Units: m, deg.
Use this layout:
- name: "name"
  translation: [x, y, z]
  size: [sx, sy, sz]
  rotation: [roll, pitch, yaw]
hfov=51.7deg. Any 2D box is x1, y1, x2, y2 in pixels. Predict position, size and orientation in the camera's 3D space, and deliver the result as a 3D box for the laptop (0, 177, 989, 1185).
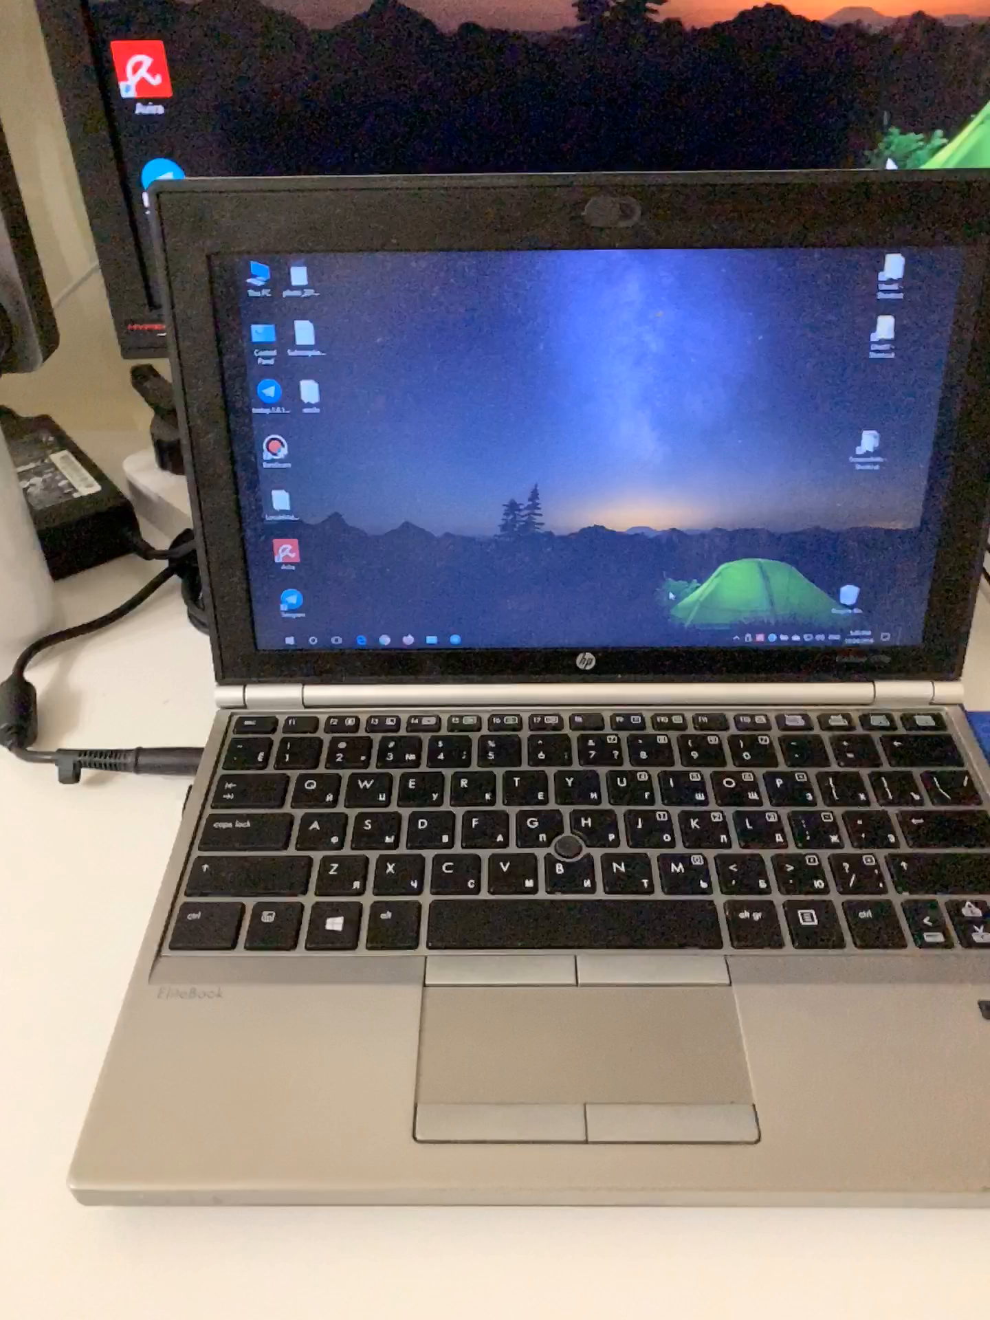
- name: "laptop"
  translation: [0.033, -0.010, 0.286]
  size: [0.283, 0.175, 0.227]
  rotation: [0, 39, 1]
